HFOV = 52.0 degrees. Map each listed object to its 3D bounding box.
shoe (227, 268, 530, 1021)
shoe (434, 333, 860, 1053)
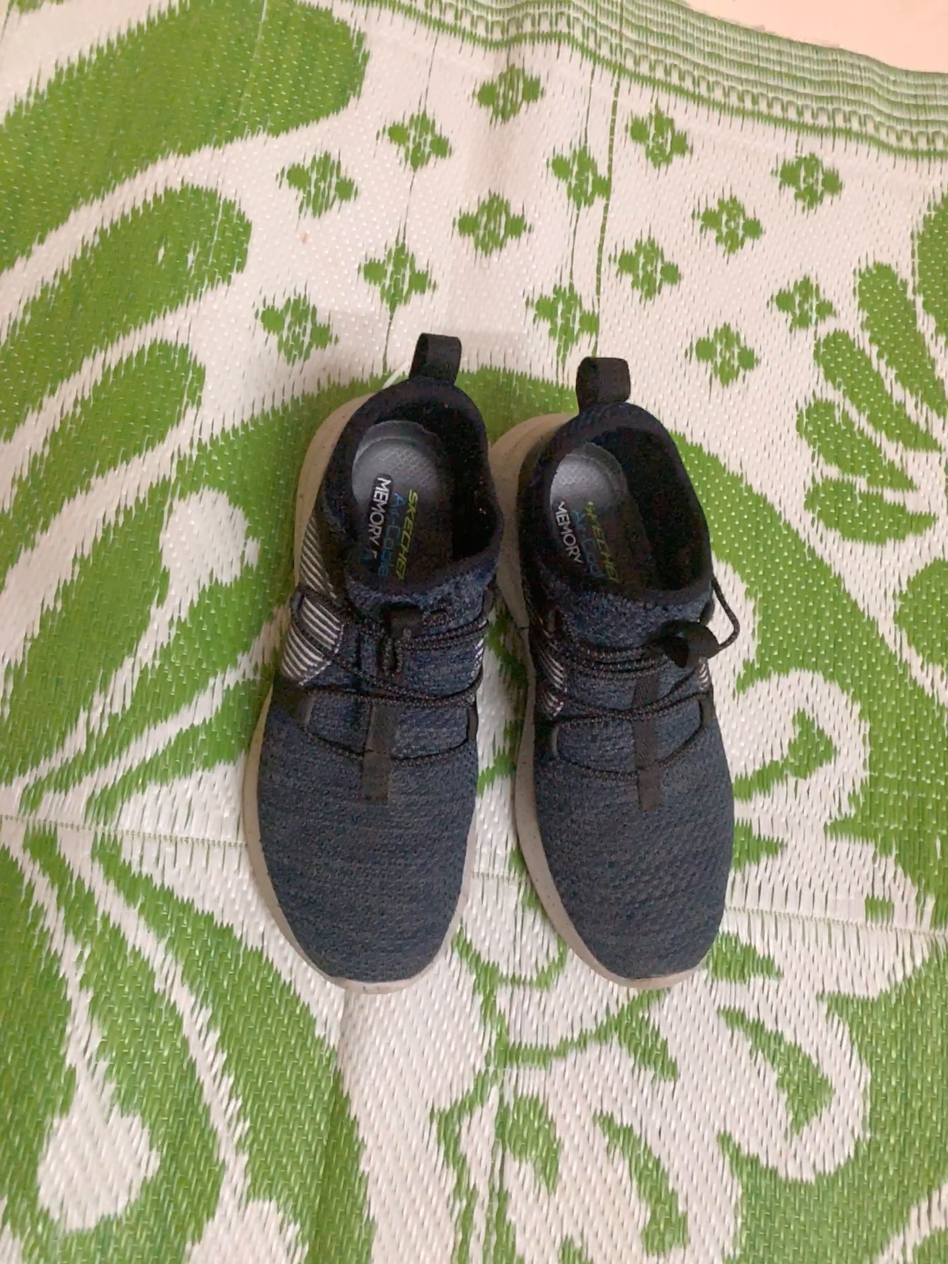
[{"bbox_3d":[-0.041,0.005,0.436,0.110,0.100,0.300,3,77,-10],"label":"shoe"},{"bbox_3d":[0.067,0.022,0.454,0.110,0.100,0.290,-8,79,-12],"label":"shoe"}]
